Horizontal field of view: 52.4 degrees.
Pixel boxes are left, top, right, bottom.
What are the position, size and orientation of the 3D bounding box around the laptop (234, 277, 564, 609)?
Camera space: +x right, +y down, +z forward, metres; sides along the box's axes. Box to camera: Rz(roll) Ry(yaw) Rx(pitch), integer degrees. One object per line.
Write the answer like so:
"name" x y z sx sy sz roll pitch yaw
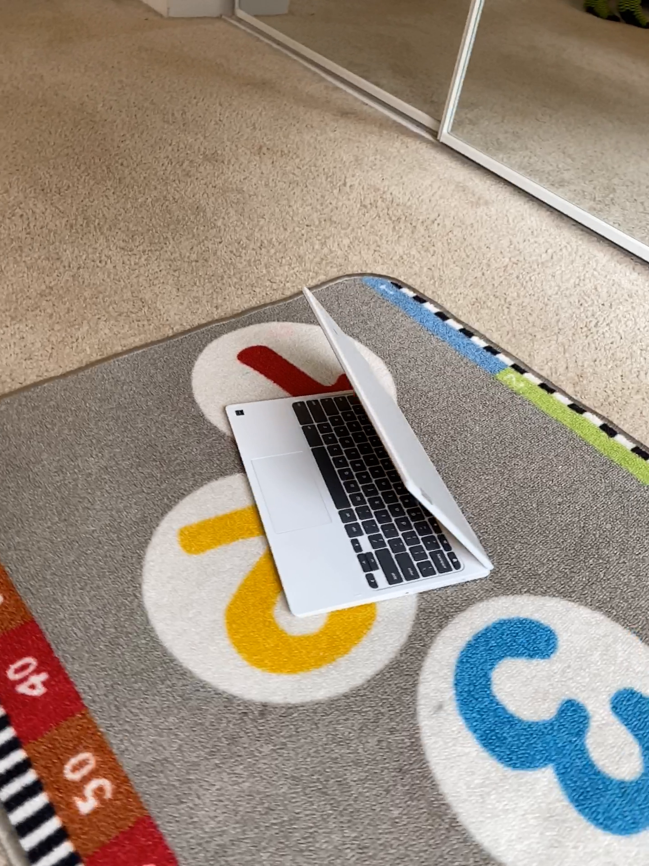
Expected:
"laptop" 0.050 -0.008 0.694 0.217 0.164 0.295 -8 47 -19
